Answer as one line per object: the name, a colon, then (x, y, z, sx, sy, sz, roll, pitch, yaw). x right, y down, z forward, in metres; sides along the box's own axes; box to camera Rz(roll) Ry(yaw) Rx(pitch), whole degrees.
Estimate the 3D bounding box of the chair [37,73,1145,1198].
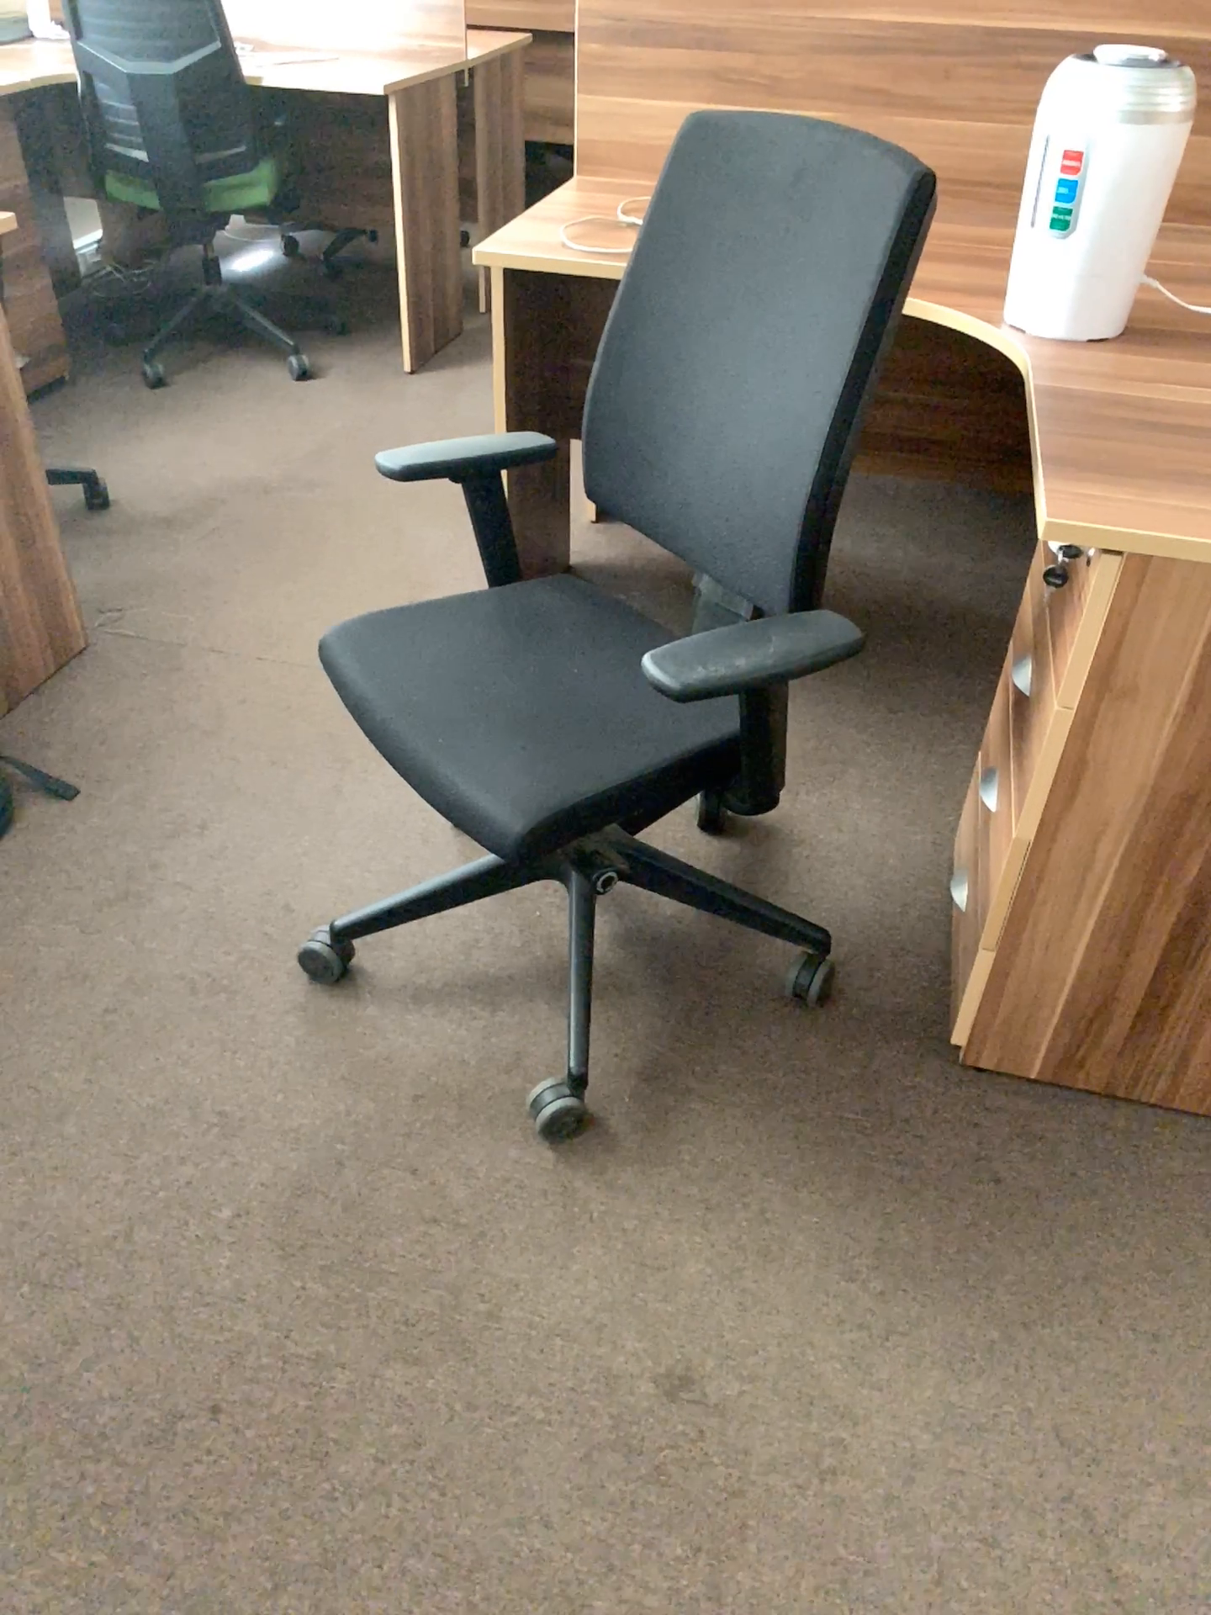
chair: (-0.041, -0.256, 1.421, 0.791, 0.915, 0.672, -22, 43, -28)
